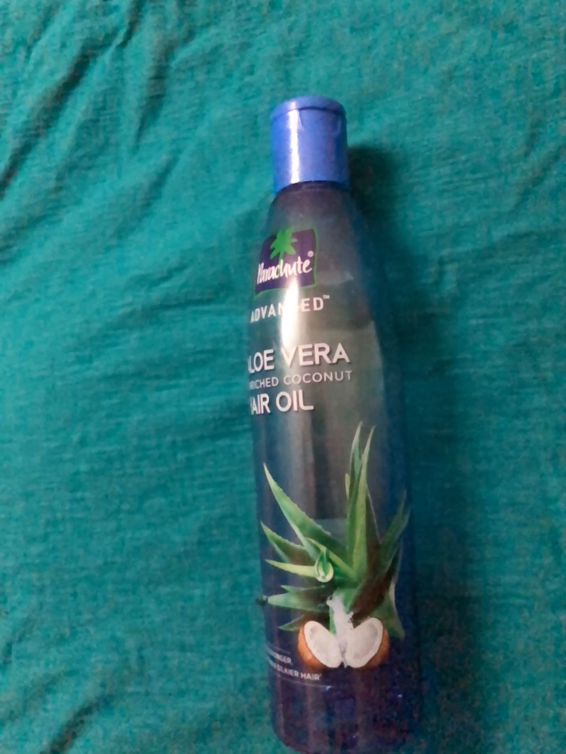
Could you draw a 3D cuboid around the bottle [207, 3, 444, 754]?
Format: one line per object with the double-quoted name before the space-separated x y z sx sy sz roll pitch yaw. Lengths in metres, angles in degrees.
"bottle" 0.012 0.005 0.194 0.050 0.040 0.210 -6 83 32
